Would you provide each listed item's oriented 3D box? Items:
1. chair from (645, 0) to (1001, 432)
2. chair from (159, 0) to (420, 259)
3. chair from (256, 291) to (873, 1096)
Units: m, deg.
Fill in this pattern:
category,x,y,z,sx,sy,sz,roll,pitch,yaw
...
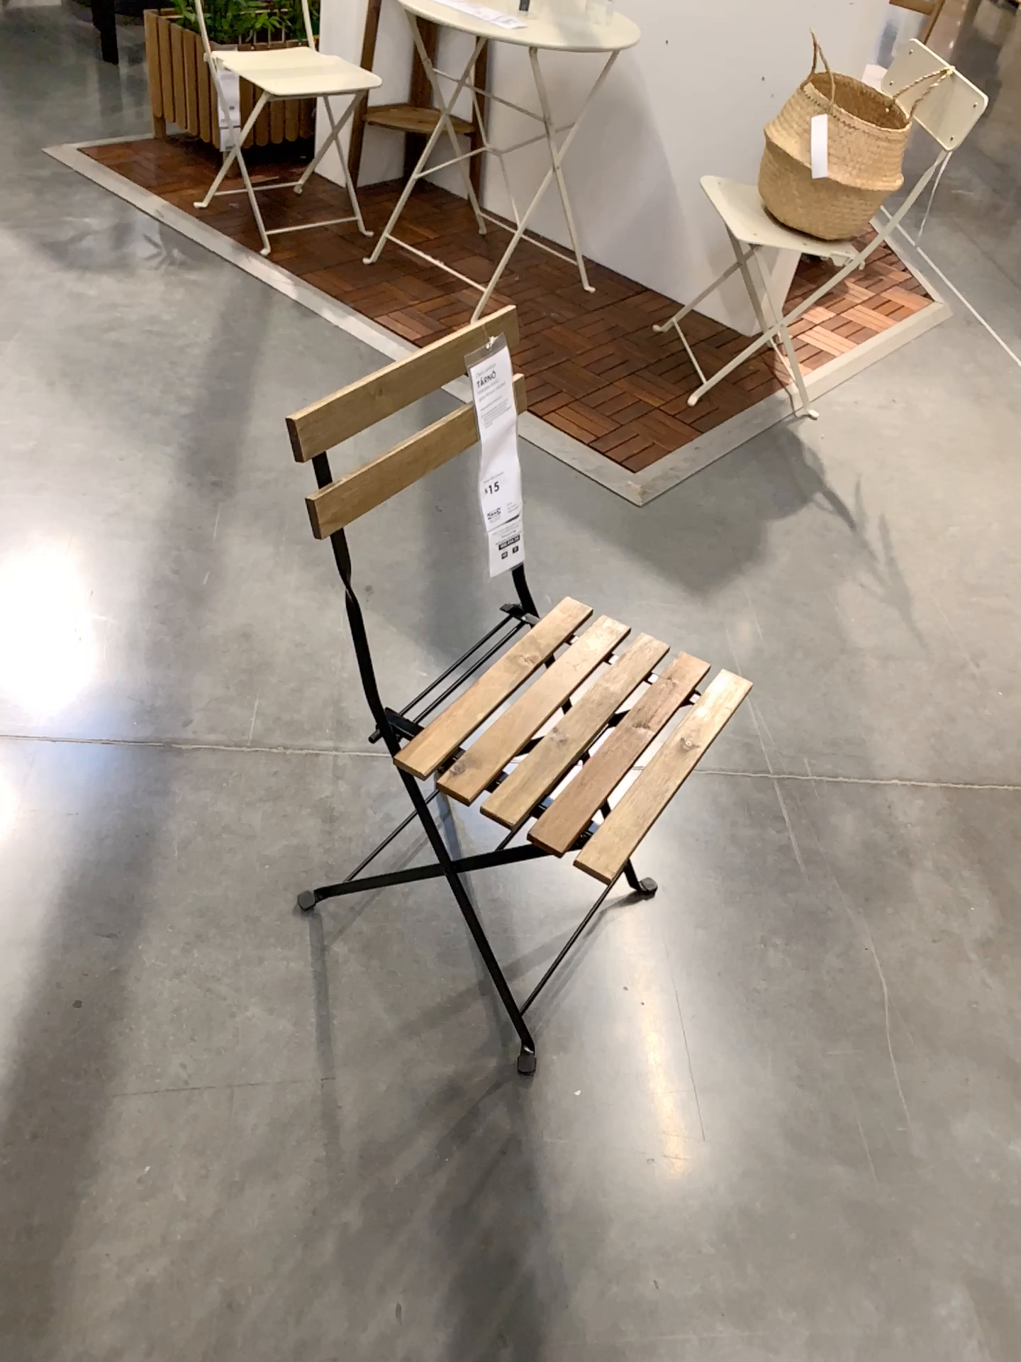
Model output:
category,x,y,z,sx,sy,sz,roll,pitch,yaw
chair,0.741,-1.192,2.722,0.501,0.863,0.524,4,43,-9
chair,-0.636,-1.770,3.001,0.493,0.863,0.452,-30,57,-36
chair,0.011,0.035,1.298,0.472,0.783,0.423,30,46,18
